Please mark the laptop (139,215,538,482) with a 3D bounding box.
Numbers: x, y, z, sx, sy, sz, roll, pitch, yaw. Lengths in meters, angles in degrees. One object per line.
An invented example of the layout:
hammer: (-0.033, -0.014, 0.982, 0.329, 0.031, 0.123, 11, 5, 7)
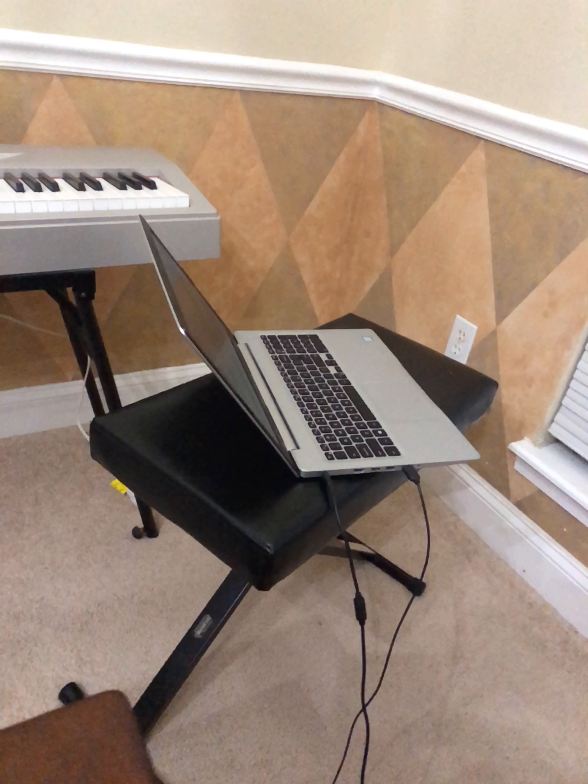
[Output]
laptop: (0.020, -0.084, 0.877, 0.408, 0.183, 0.376, -2, 32, -20)
